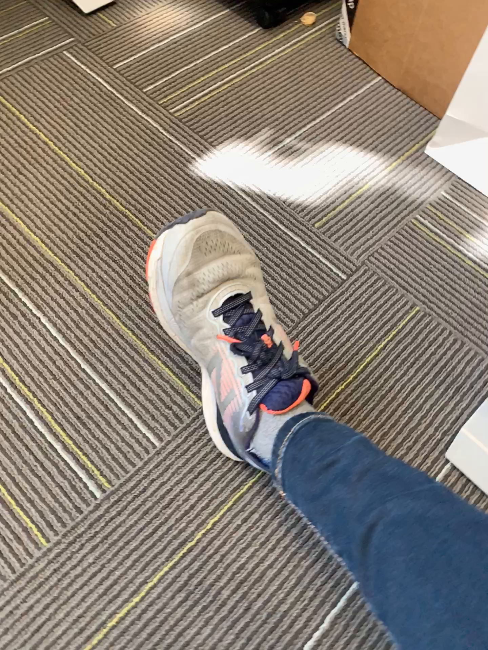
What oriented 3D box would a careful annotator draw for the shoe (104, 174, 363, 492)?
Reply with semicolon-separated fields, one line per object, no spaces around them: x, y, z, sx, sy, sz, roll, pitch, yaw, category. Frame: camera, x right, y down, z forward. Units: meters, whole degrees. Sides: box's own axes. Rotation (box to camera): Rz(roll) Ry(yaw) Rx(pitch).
-0.010;0.005;0.455;0.120;0.110;0.230;-30;106;-18;shoe
